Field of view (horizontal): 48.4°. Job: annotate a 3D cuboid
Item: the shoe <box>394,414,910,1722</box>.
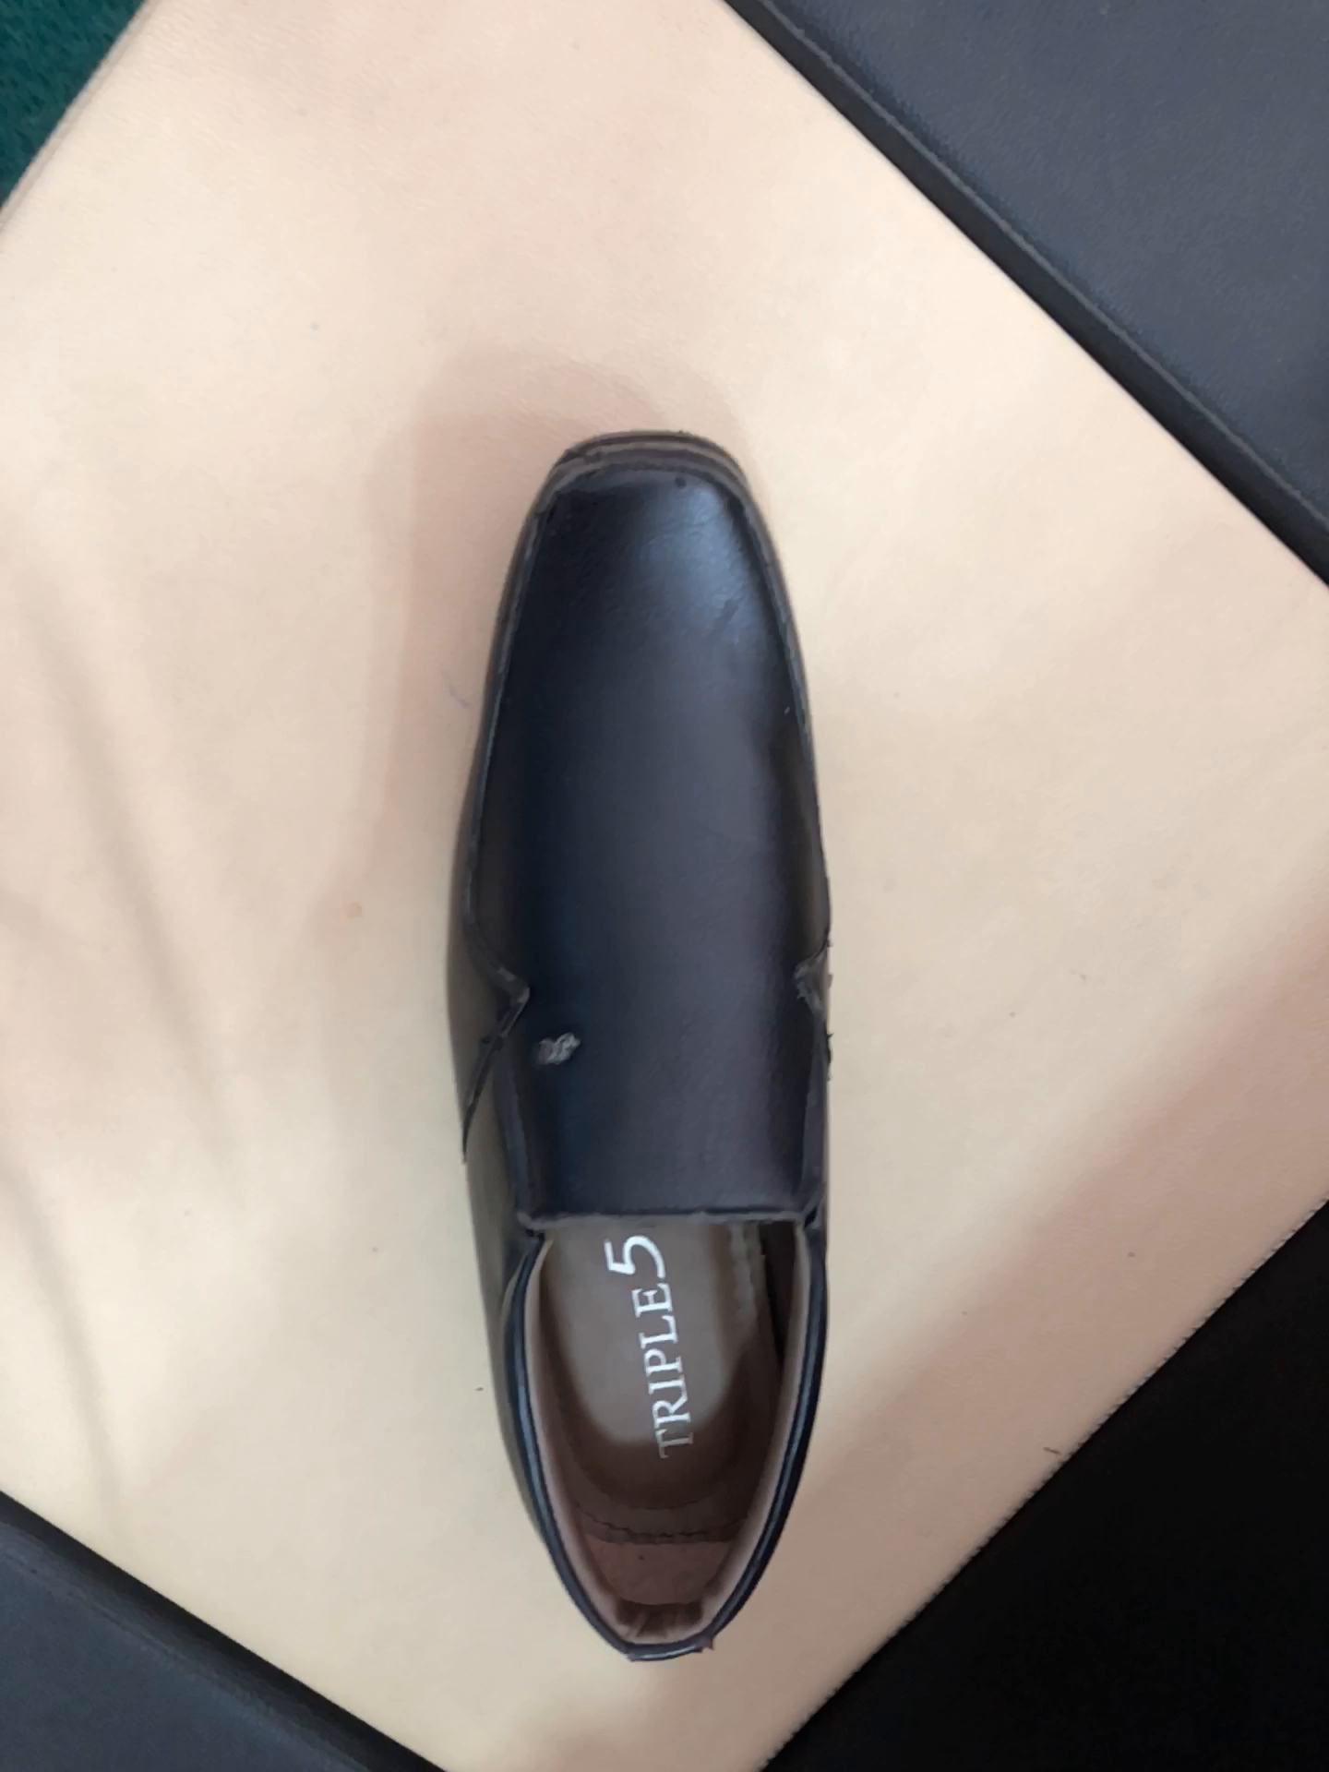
[{"bbox_3d":[-0.005,0.044,0.366,0.100,0.090,0.300,0,104,-3],"label":"shoe"}]
